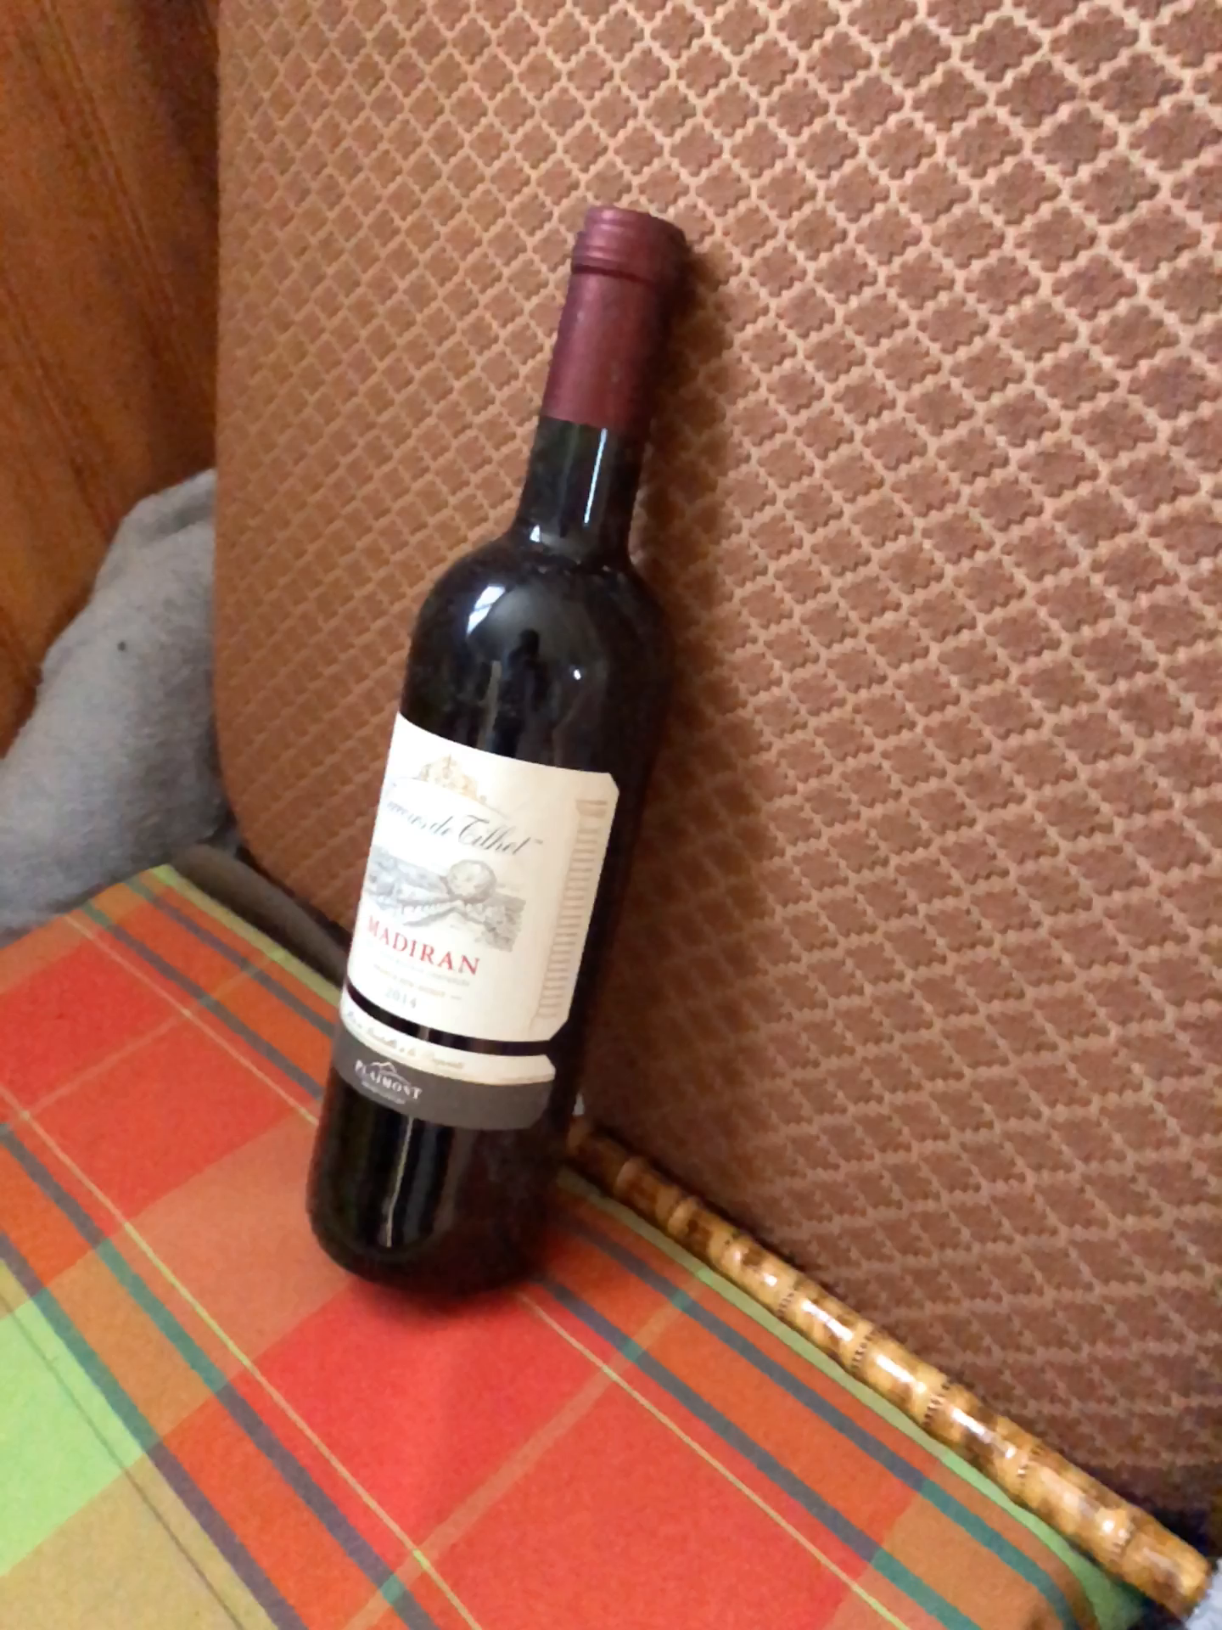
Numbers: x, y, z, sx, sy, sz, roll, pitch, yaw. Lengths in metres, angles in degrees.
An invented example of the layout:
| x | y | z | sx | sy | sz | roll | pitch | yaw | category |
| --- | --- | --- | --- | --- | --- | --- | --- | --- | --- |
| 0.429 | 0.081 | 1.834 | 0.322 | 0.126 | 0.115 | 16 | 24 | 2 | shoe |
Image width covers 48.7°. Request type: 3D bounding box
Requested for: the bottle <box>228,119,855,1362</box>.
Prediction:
| x | y | z | sx | sy | sz | roll | pitch | yaw | category |
| --- | --- | --- | --- | --- | --- | --- | --- | --- | --- |
| -0.024 | -0.016 | 0.374 | 0.080 | 0.299 | 0.090 | 21 | 16 | 30 | bottle |
